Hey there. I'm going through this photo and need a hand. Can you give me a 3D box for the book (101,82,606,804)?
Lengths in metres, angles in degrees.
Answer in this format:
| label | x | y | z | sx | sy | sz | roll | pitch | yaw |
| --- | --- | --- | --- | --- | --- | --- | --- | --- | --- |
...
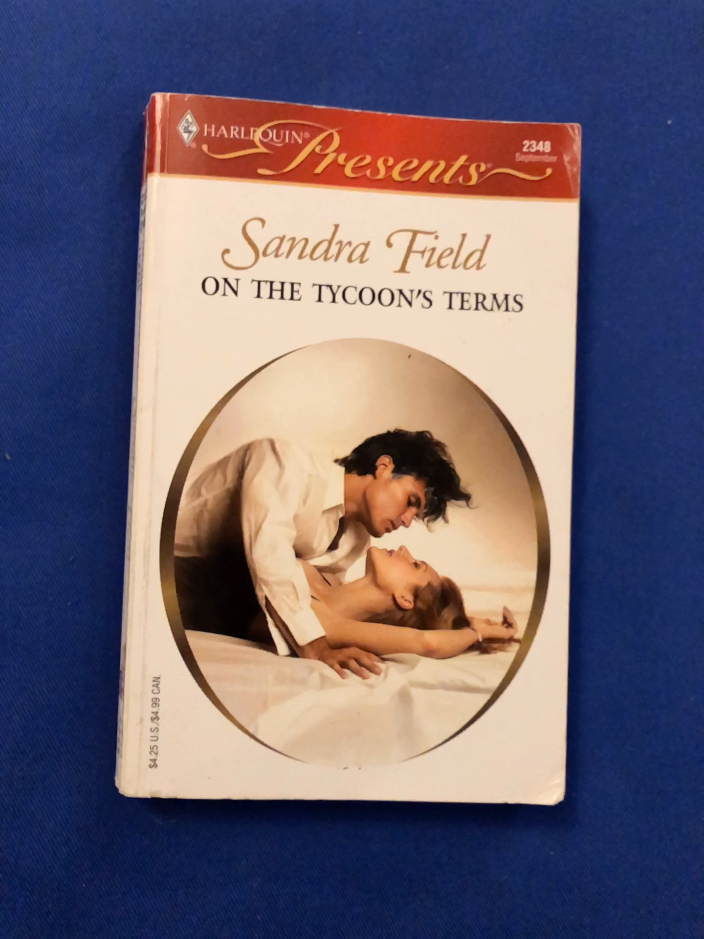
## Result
| label | x | y | z | sx | sy | sz | roll | pitch | yaw |
| --- | --- | --- | --- | --- | --- | --- | --- | --- | --- |
| book | 0.001 | -0.005 | 0.187 | 0.107 | 0.020 | 0.157 | 2 | 88 | -4 |
